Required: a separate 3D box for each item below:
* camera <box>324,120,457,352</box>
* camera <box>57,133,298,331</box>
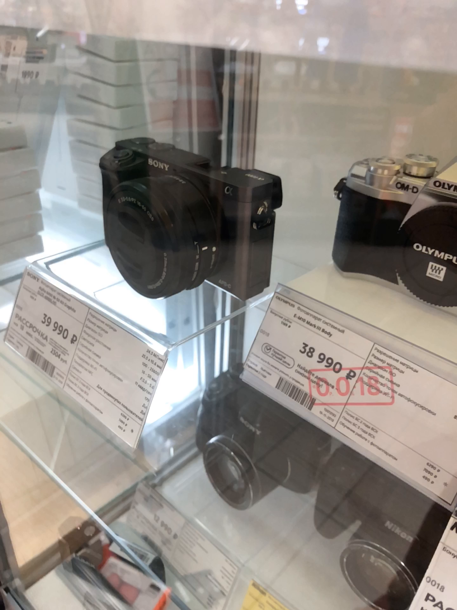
[{"bbox_3d":[0.135,-0.049,0.292,0.123,0.081,0.087,27,38,37],"label":"camera"},{"bbox_3d":[-0.034,-0.052,0.304,0.130,0.070,0.066,27,38,37],"label":"camera"}]
